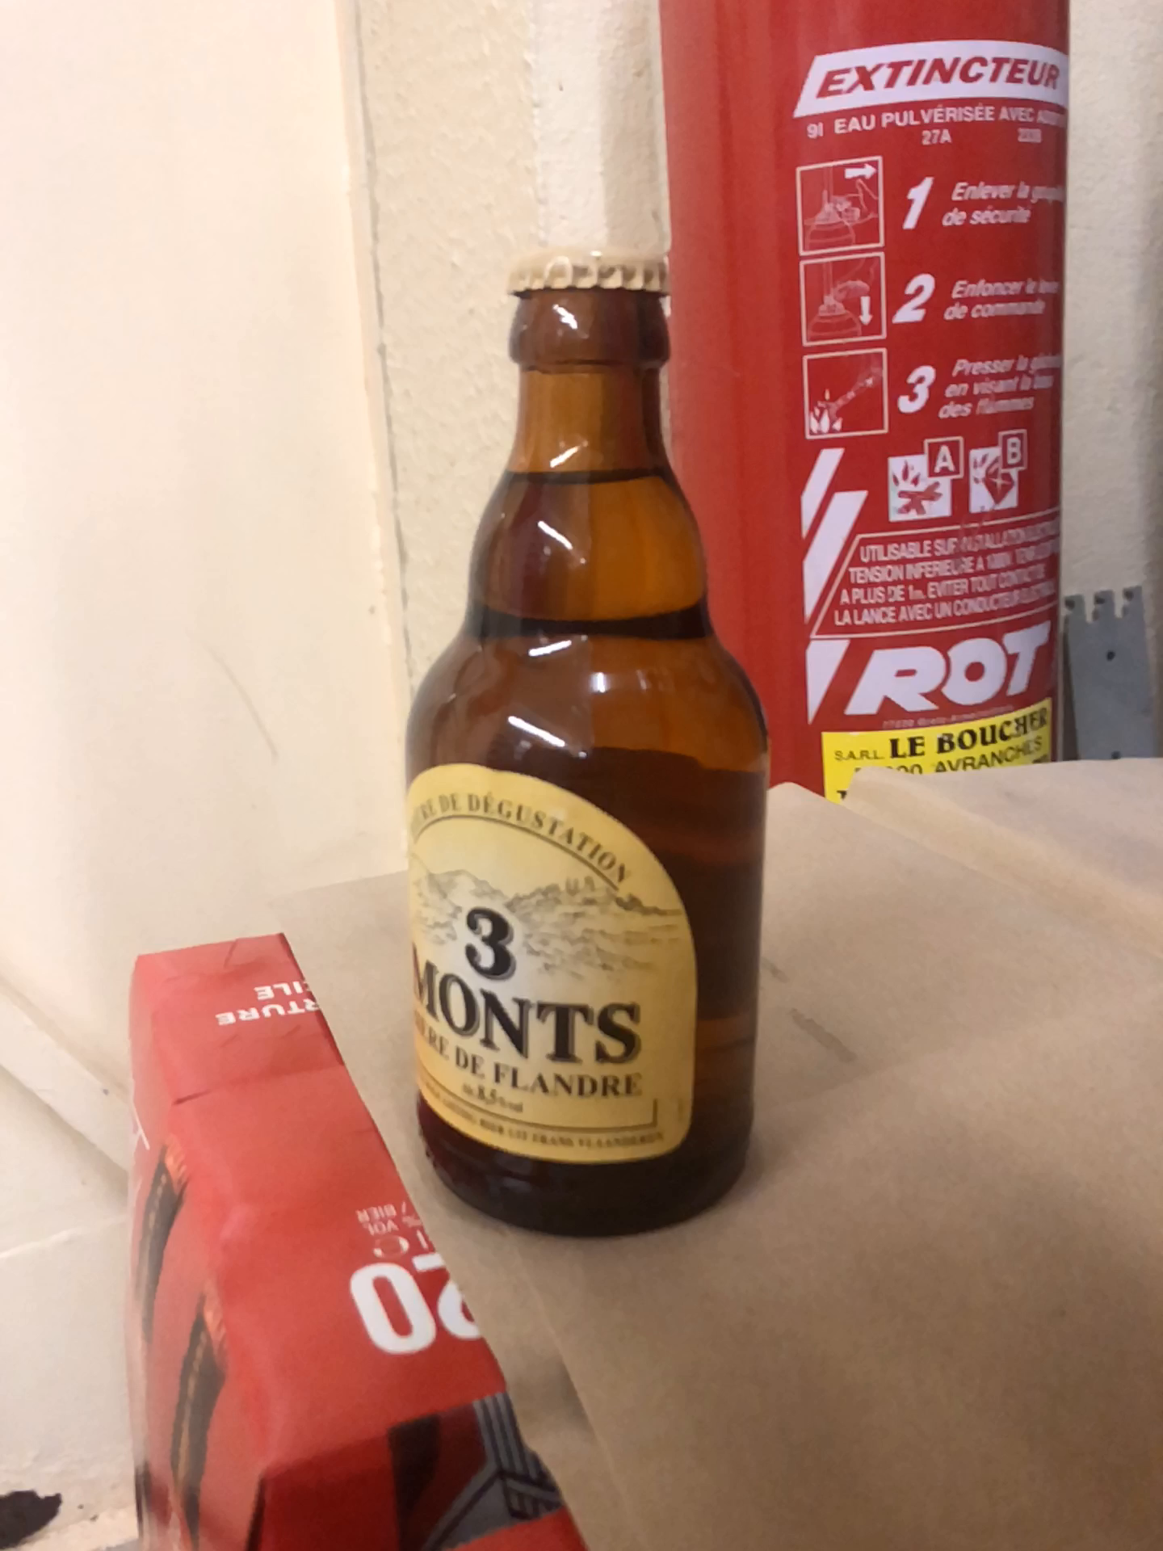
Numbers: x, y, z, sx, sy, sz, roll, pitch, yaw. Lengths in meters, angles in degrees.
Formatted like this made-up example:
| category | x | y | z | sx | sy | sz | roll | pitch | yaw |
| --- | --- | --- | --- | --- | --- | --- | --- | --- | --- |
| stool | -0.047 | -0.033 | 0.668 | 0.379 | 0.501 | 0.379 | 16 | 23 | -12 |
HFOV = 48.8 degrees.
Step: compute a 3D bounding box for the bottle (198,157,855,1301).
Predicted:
| category | x | y | z | sx | sy | sz | roll | pitch | yaw |
| --- | --- | --- | --- | --- | --- | --- | --- | --- | --- |
| bottle | -0.003 | -0.011 | 0.235 | 0.080 | 0.166 | 0.080 | -1 | 14 | 0 |
